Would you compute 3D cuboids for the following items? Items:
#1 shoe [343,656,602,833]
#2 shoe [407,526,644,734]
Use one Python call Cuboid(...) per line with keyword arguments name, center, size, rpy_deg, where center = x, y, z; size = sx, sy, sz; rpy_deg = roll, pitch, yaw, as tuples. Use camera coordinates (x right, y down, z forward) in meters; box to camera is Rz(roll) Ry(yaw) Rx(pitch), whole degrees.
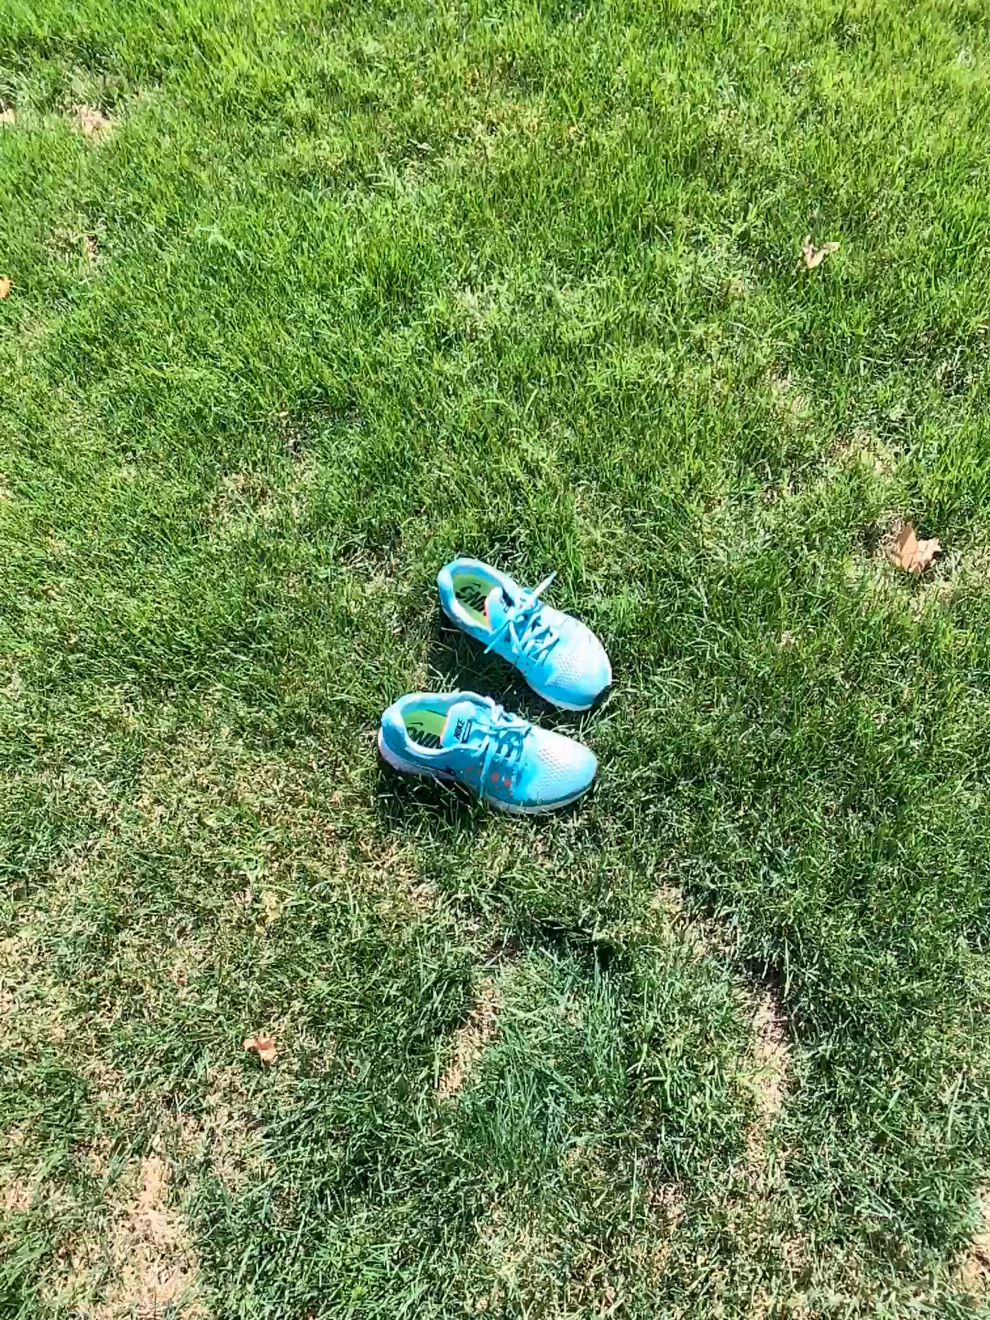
Cuboid(name="shoe", center=(-0.021, 0.094, 1.143), size=(0.260, 0.090, 0.120), rpy_deg=(12, 65, 13))
Cuboid(name="shoe", center=(0.036, -0.039, 1.186), size=(0.251, 0.070, 0.120), rpy_deg=(33, 74, 21))
